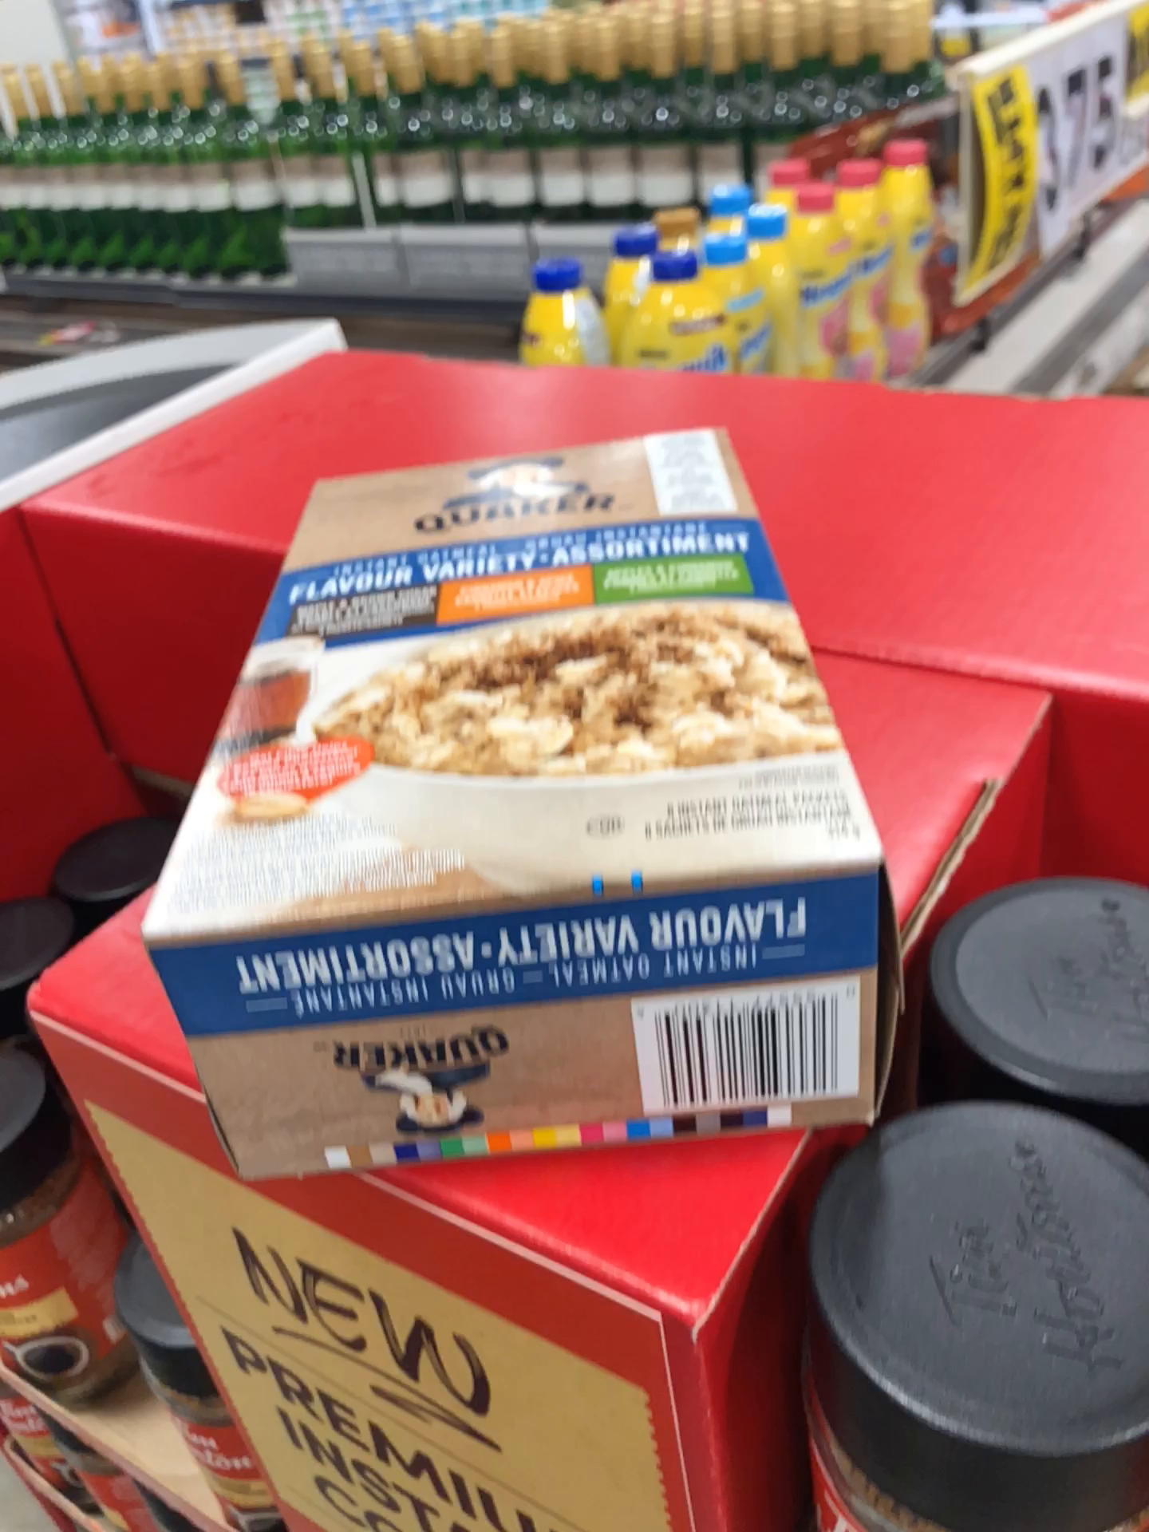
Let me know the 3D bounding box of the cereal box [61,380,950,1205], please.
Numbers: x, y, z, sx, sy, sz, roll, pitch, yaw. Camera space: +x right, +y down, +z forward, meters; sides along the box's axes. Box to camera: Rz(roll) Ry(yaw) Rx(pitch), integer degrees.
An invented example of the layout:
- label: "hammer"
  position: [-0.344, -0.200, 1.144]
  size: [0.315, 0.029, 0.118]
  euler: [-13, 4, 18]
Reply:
- label: "cereal box"
  position: [-0.010, -0.014, 0.307]
  size: [0.140, 0.070, 0.211]
  euler: [-6, 35, 3]
